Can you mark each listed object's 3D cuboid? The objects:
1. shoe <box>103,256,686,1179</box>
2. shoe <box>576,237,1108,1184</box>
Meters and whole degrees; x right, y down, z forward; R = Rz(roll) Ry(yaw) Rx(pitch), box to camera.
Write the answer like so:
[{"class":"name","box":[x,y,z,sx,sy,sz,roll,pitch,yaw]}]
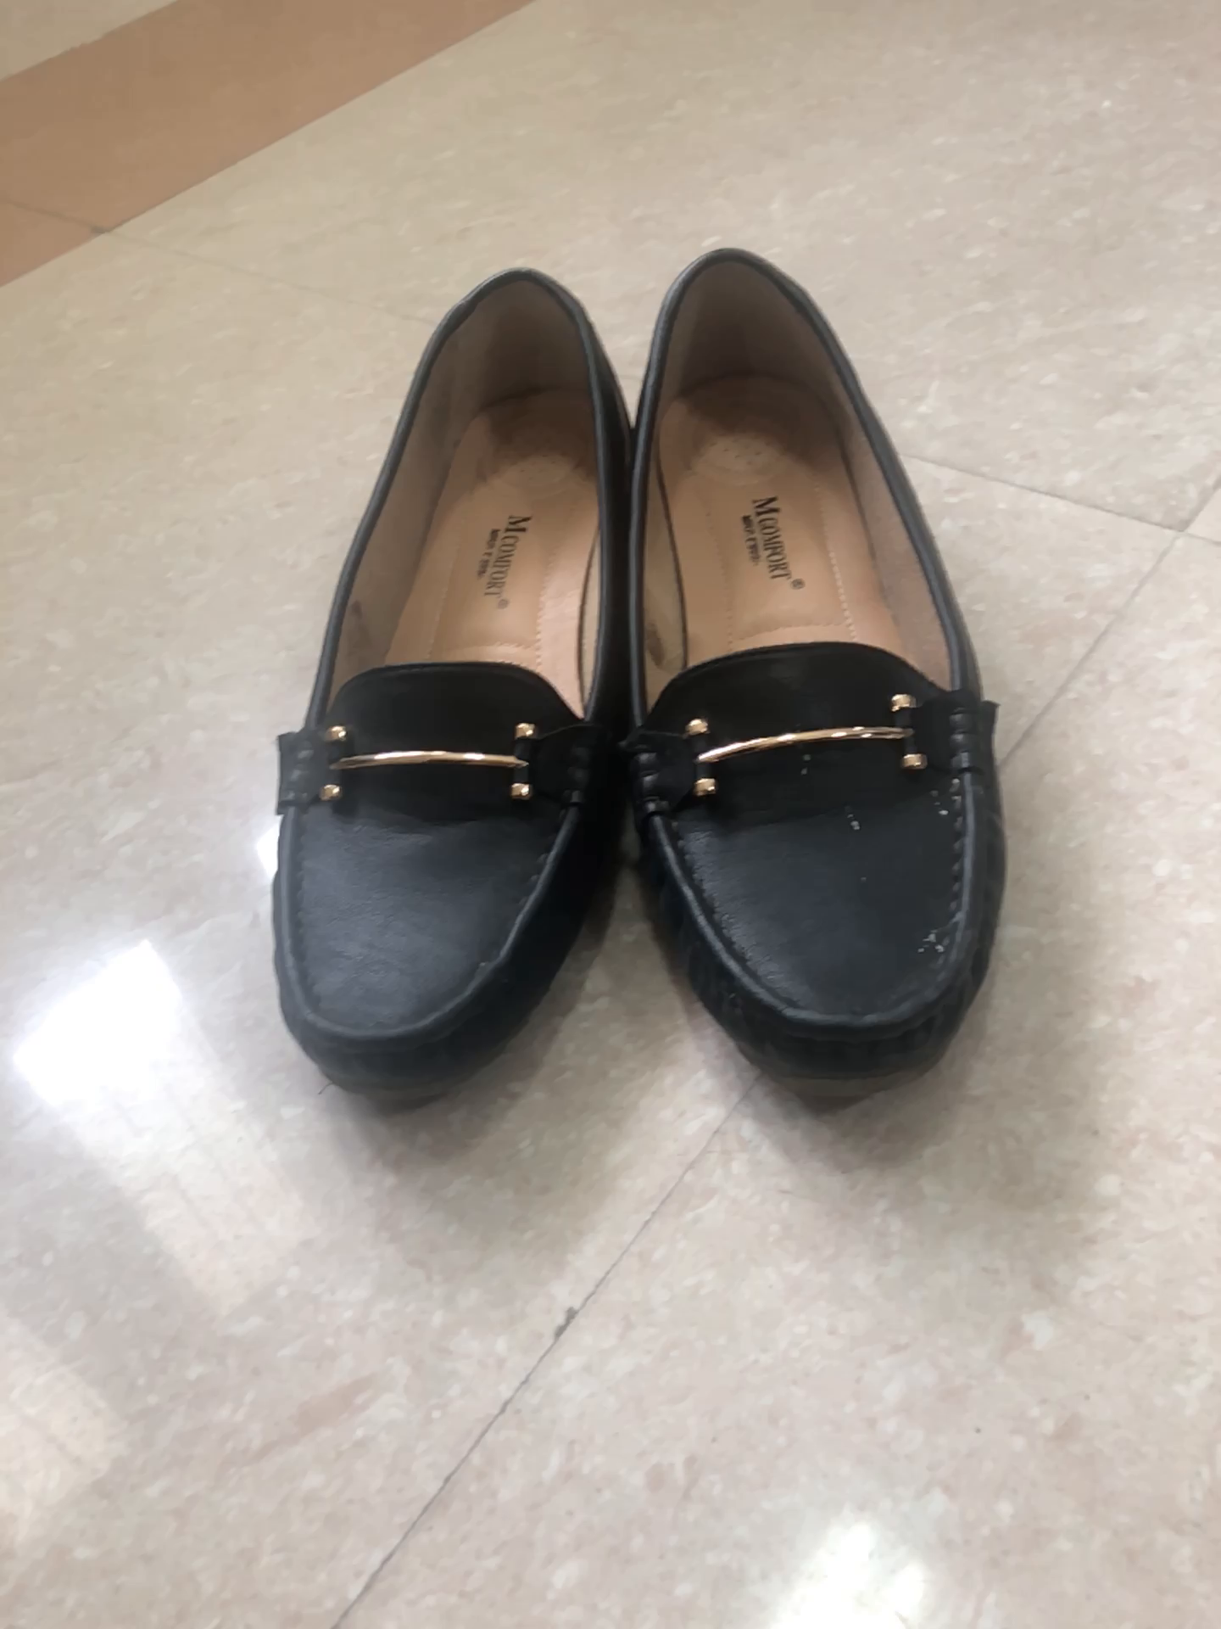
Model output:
[{"class":"shoe","box":[-0.038,-0.053,0.407,0.100,0.080,0.311,-2,47,9]},{"class":"shoe","box":[0.047,-0.057,0.400,0.100,0.080,0.311,-6,46,4]}]
